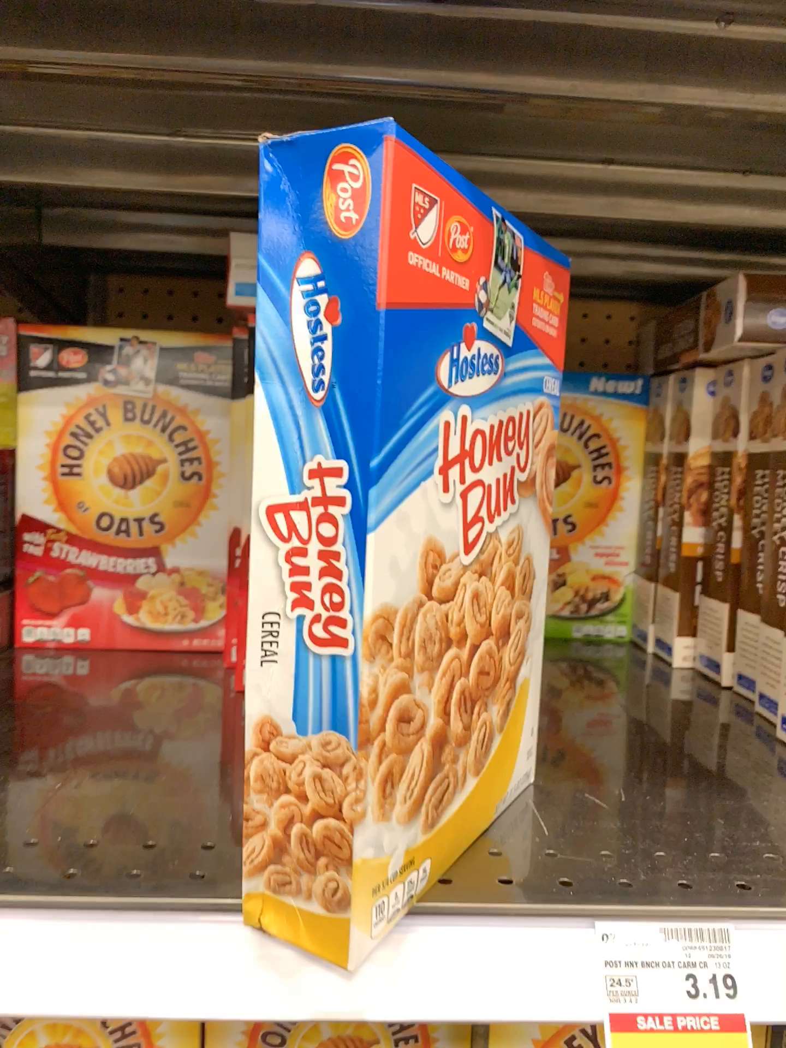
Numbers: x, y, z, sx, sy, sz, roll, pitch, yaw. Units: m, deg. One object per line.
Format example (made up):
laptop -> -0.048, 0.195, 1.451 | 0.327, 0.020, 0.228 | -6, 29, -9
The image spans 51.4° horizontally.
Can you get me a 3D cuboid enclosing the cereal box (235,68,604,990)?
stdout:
cereal box -> 0.026, 0.000, 0.349 | 0.060, 0.280, 0.200 | 4, 4, 29
